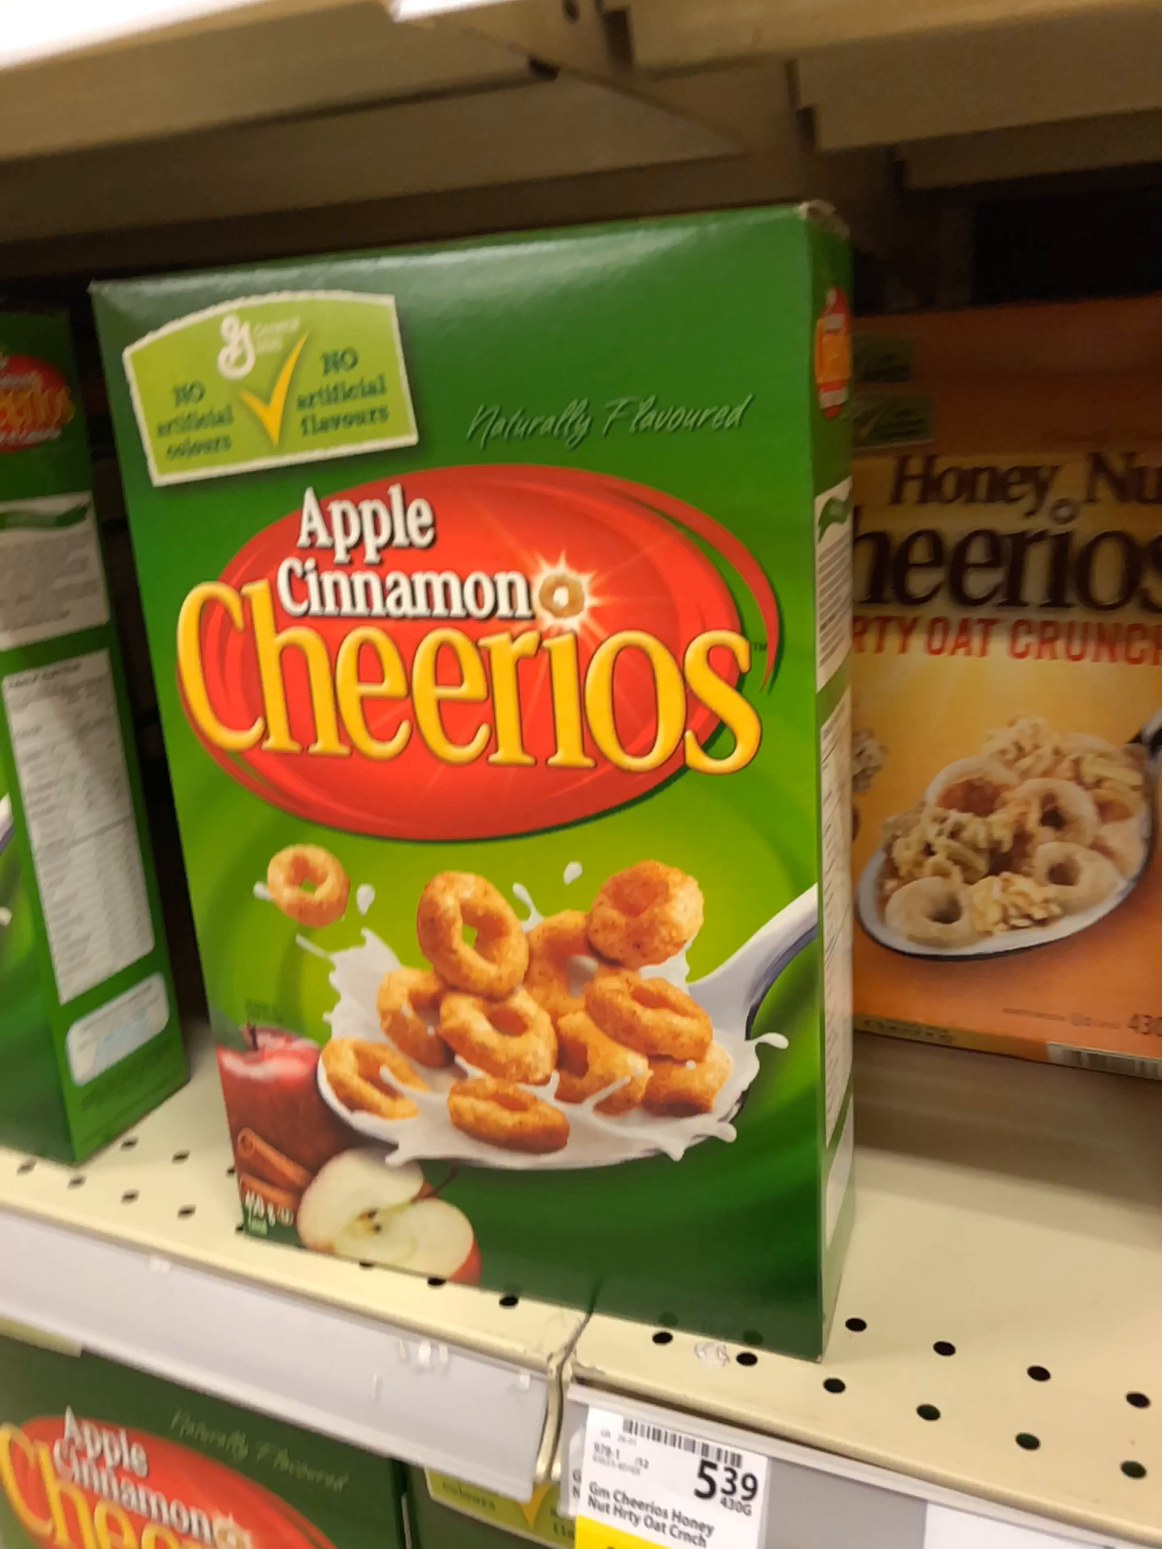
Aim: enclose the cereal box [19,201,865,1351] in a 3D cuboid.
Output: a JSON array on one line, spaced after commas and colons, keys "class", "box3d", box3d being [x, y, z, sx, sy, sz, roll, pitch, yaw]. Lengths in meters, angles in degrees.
[{"class": "cereal box", "box3d": [-0.029, 0.003, 0.373, 0.210, 0.289, 0.070, 3, 18, 20]}]
